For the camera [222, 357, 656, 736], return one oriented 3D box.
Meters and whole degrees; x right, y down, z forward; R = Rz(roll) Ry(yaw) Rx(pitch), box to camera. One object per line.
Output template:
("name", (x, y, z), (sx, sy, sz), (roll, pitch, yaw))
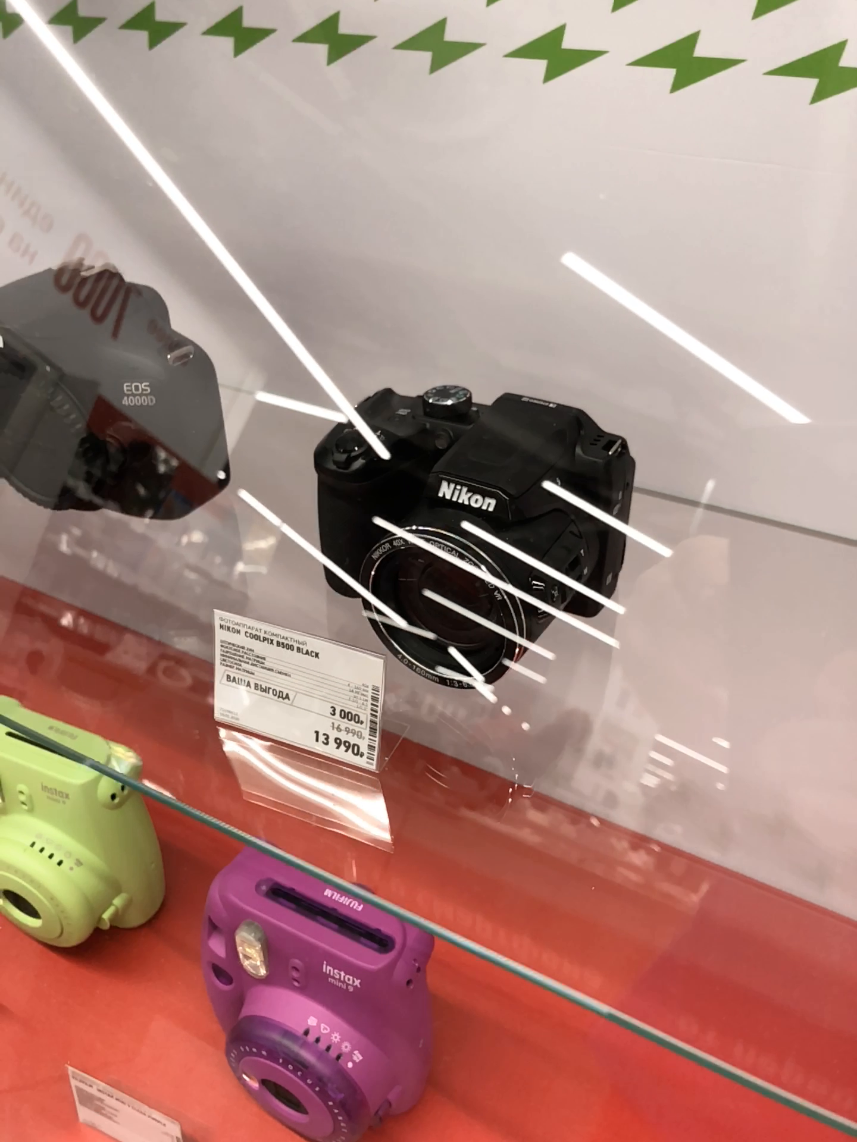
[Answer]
("camera", (0.006, -0.017, 0.348), (0.115, 0.070, 0.100), (18, 39, 25))
